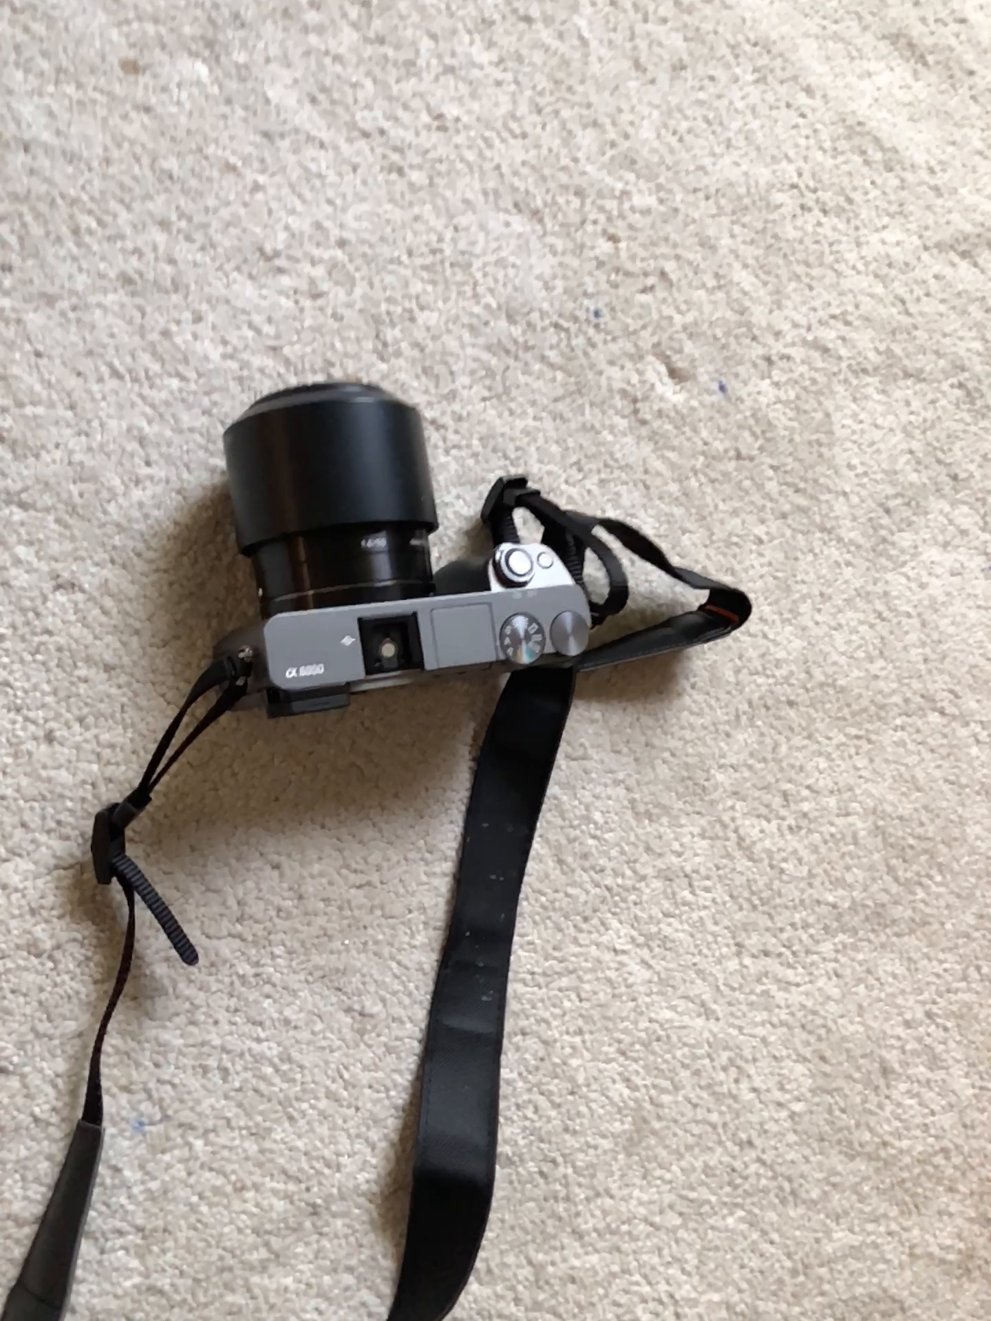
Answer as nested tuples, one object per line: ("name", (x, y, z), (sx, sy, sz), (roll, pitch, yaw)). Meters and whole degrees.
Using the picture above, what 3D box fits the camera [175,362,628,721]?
("camera", (-0.032, -0.039, 0.369), (0.120, 0.070, 0.100), (-8, 89, -29))
